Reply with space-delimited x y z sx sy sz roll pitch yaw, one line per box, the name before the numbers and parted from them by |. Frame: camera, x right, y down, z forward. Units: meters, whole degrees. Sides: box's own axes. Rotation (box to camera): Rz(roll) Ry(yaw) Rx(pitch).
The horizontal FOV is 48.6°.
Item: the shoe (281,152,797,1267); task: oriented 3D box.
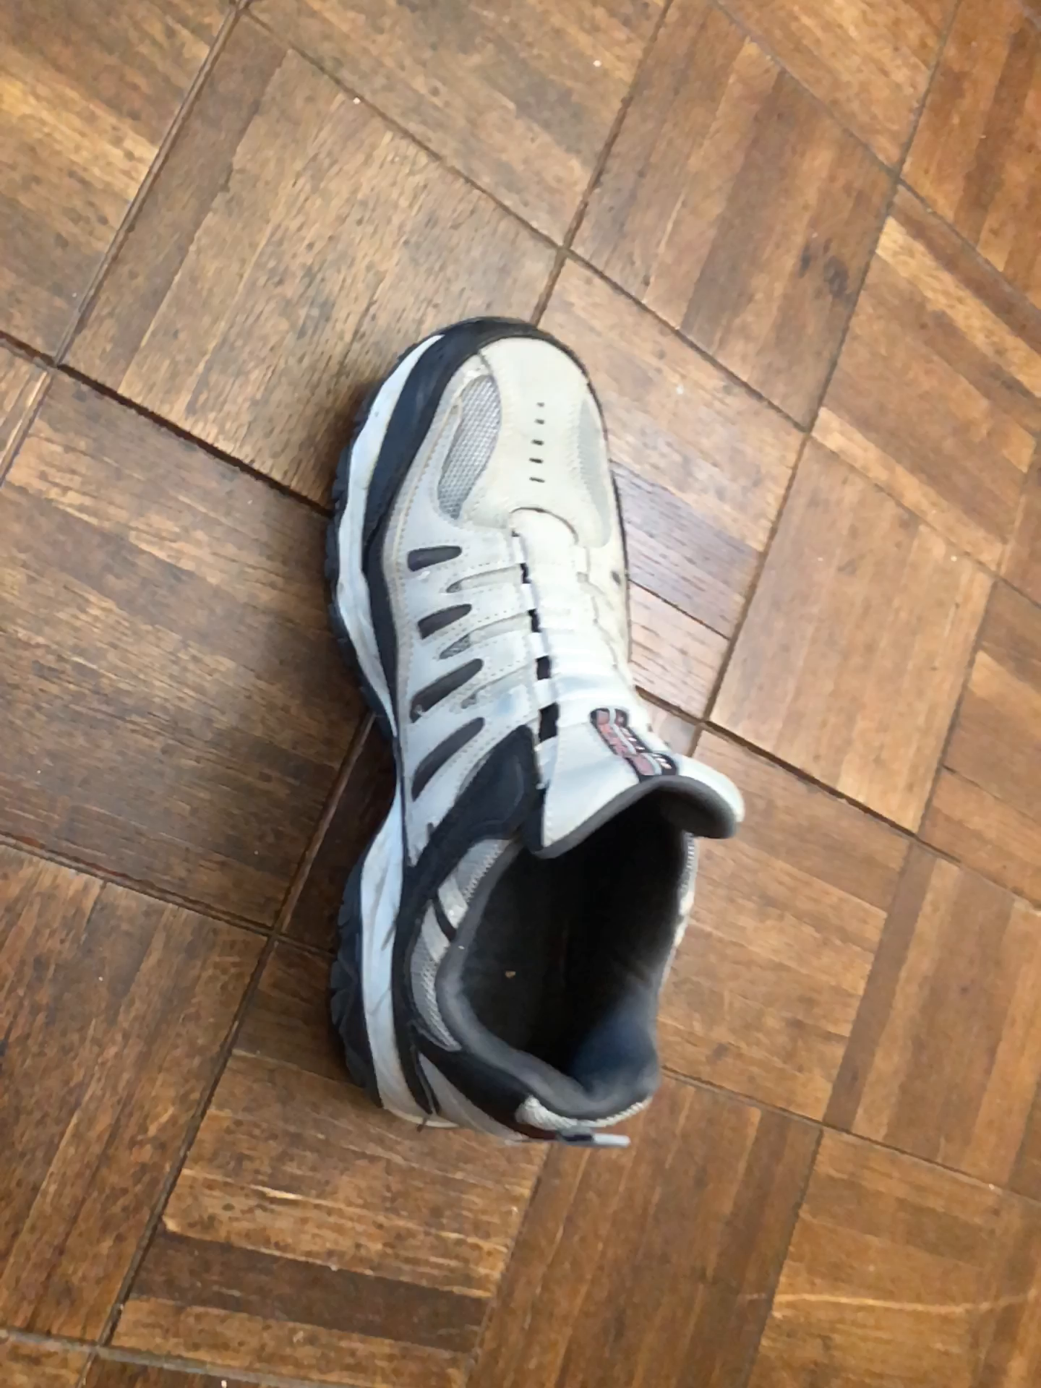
shoe | 0.000 0.006 0.426 0.120 0.149 0.320 3 89 -30
